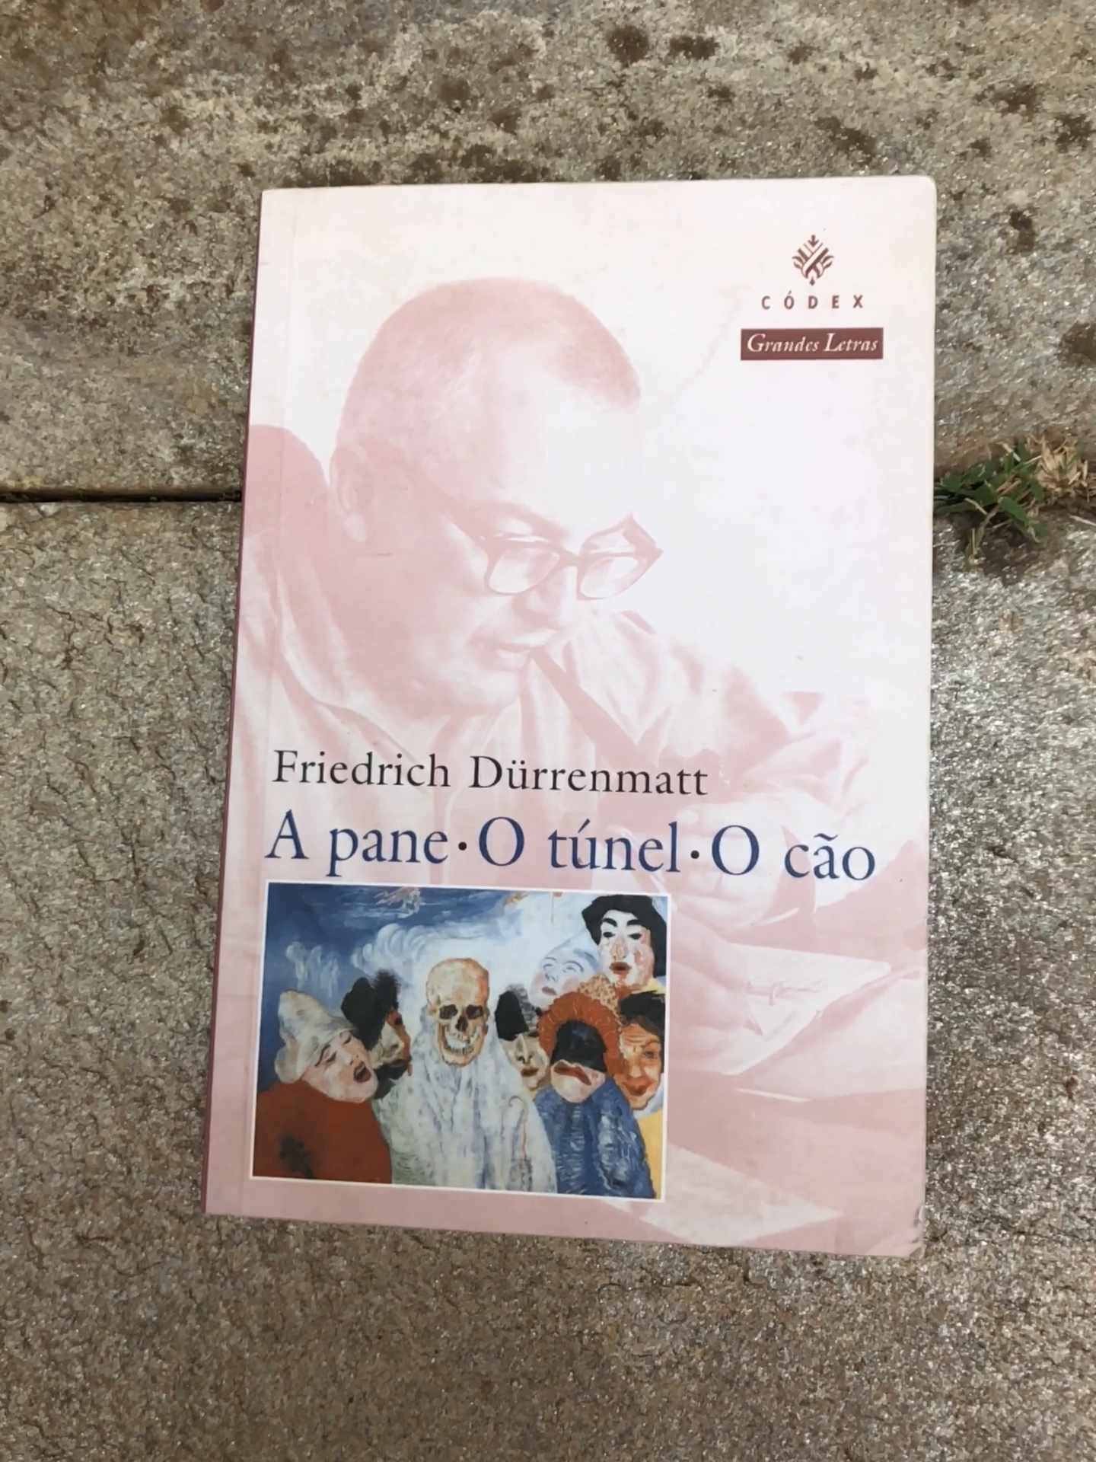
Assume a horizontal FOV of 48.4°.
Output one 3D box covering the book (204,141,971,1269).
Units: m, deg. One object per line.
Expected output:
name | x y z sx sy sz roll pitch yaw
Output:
book | 0.008 -0.010 0.242 0.138 0.020 0.210 2 87 5
